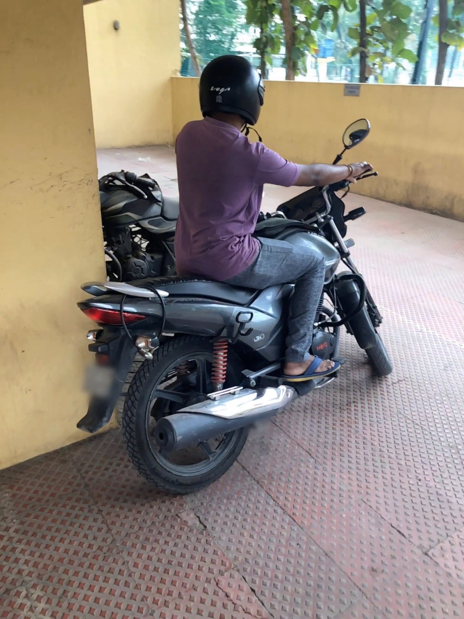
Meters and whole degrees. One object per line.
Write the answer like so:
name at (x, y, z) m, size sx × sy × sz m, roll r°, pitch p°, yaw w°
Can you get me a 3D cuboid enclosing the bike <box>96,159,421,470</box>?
bike at (0.164, -0.108, 2.327) m, size 0.701 × 1.000 × 1.240 m, roll 23°, pitch 30°, yaw 39°
